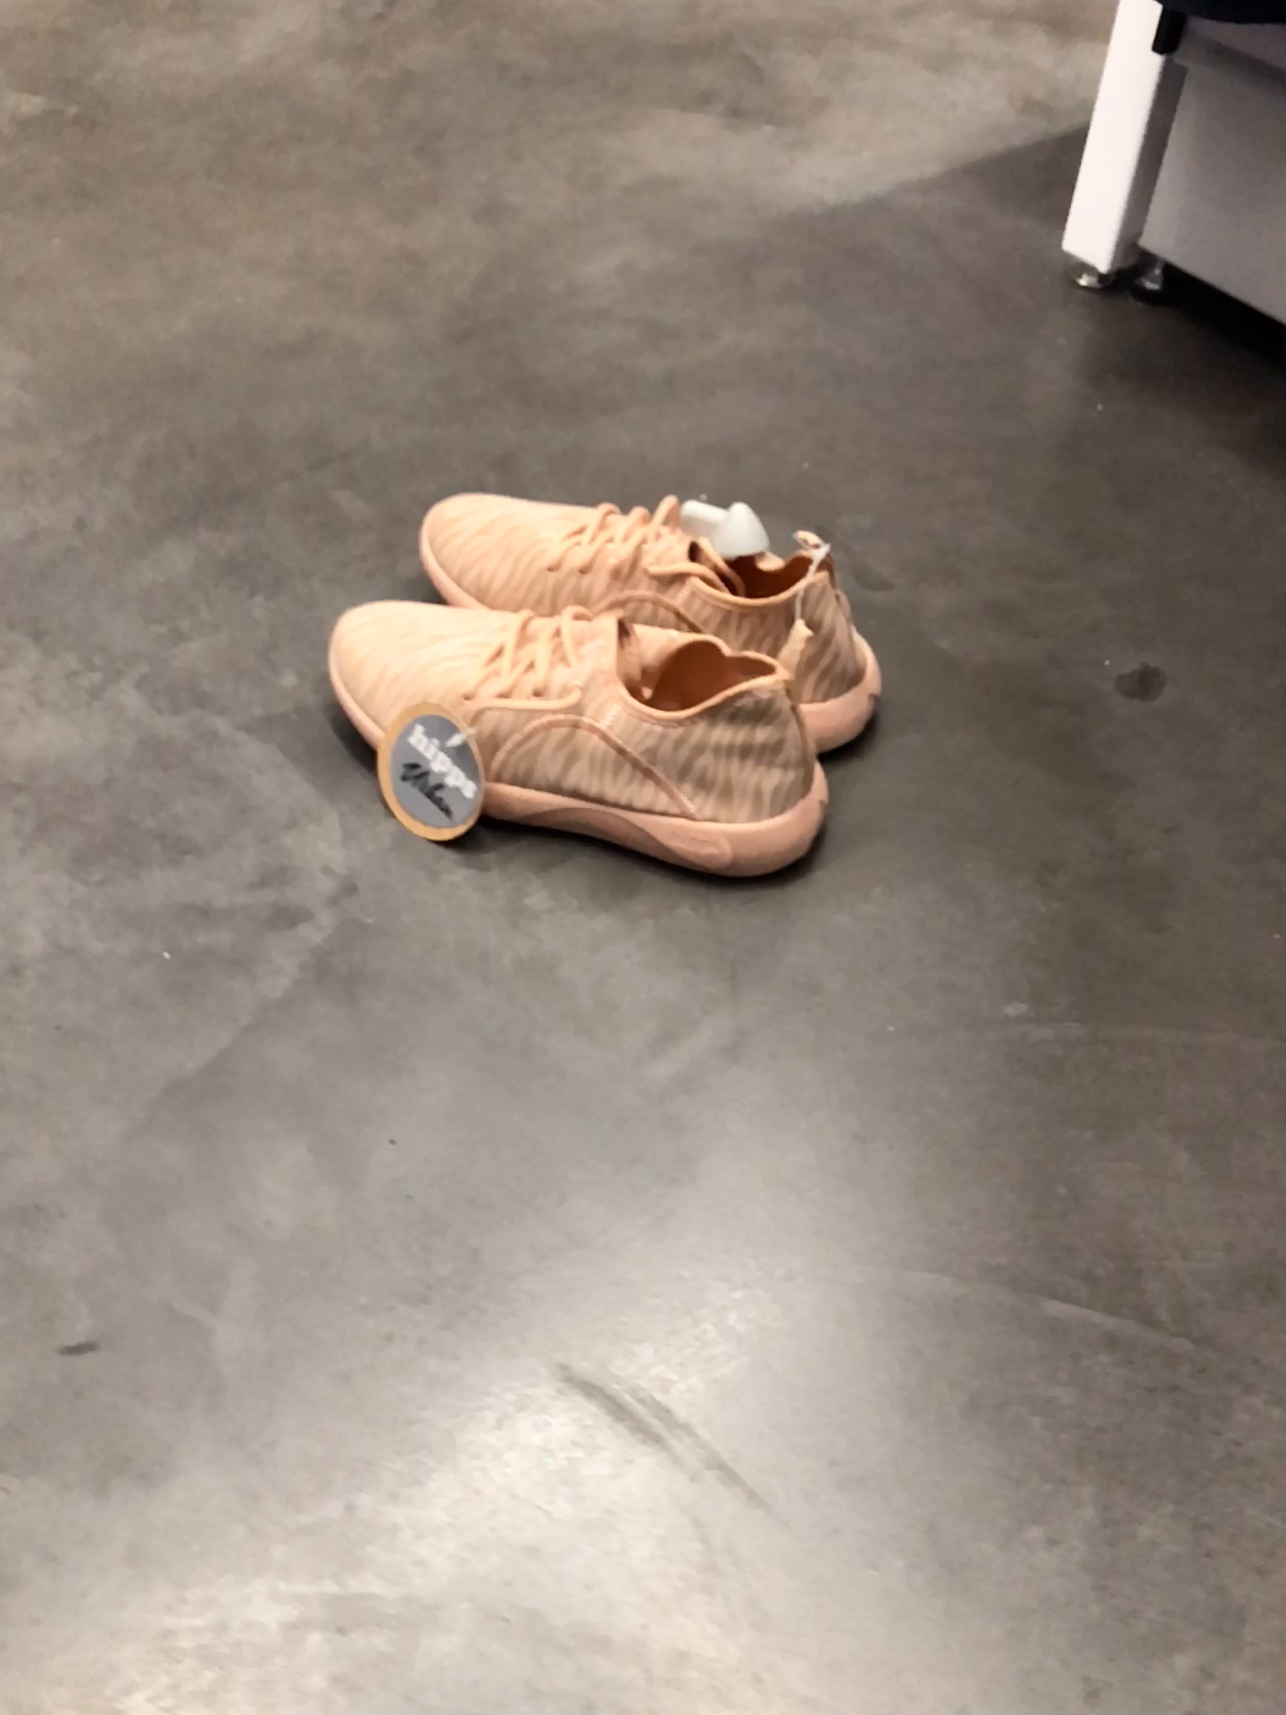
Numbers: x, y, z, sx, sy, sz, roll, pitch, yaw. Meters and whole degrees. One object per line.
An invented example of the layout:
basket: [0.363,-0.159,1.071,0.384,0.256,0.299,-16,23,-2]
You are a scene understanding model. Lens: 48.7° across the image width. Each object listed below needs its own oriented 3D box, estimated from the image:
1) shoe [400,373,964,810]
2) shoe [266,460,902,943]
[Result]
shoe: [0.016,-0.129,0.667,0.230,0.099,0.101,22,52,18]
shoe: [-0.024,-0.070,0.596,0.230,0.099,0.101,20,51,16]
